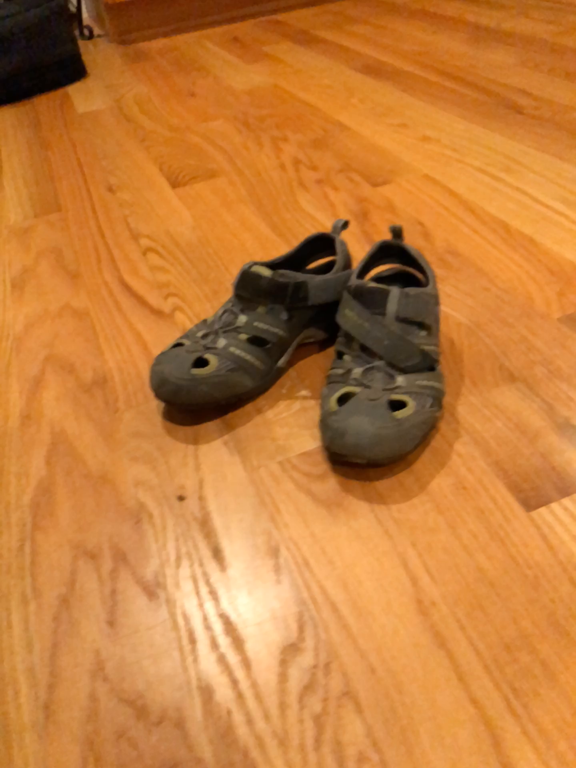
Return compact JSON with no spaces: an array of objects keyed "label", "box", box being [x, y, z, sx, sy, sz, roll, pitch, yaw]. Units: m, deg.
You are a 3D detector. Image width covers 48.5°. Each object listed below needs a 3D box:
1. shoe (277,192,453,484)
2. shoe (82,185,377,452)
[{"label":"shoe","box":[0.077,-0.053,0.527,0.100,0.112,0.246,3,40,15]},{"label":"shoe","box":[-0.037,-0.071,0.574,0.100,0.112,0.246,27,50,36]}]
